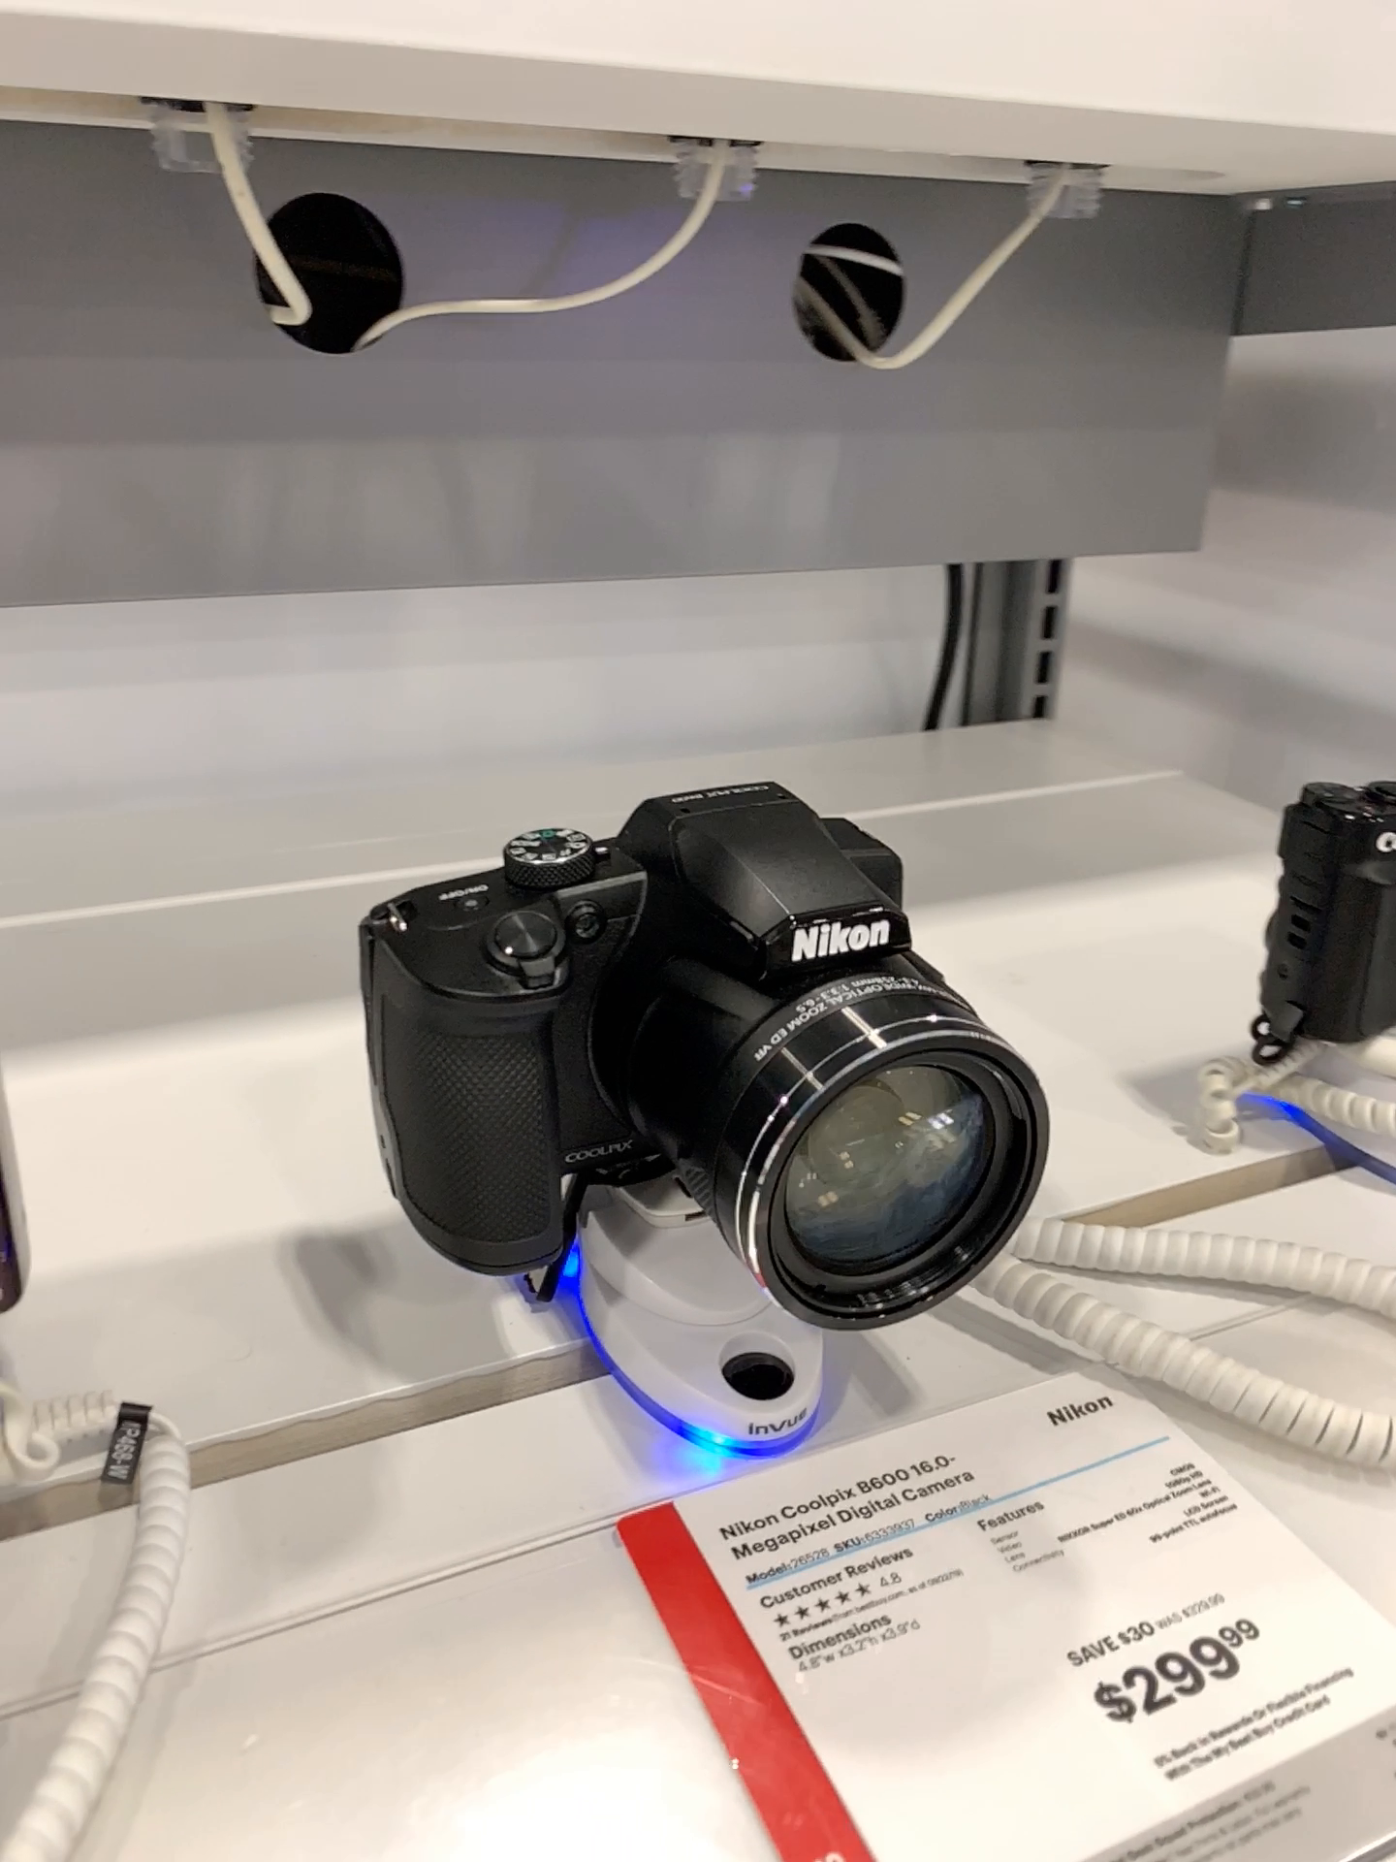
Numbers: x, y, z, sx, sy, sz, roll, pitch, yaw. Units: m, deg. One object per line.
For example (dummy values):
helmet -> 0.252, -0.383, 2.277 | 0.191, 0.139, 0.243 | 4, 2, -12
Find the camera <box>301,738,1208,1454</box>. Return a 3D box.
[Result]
camera -> 0.005, 0.017, 0.279 | 0.130, 0.070, 0.110 | -11, 25, -25
